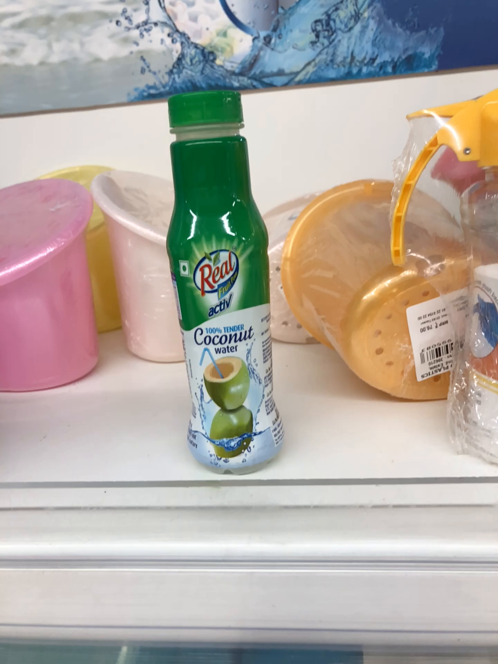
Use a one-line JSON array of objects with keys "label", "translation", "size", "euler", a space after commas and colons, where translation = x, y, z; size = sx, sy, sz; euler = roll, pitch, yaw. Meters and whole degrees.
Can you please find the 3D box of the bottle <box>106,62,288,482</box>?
[{"label": "bottle", "translation": [-0.018, -0.025, 0.266], "size": [0.060, 0.179, 0.060], "euler": [-4, 19, 1]}]
